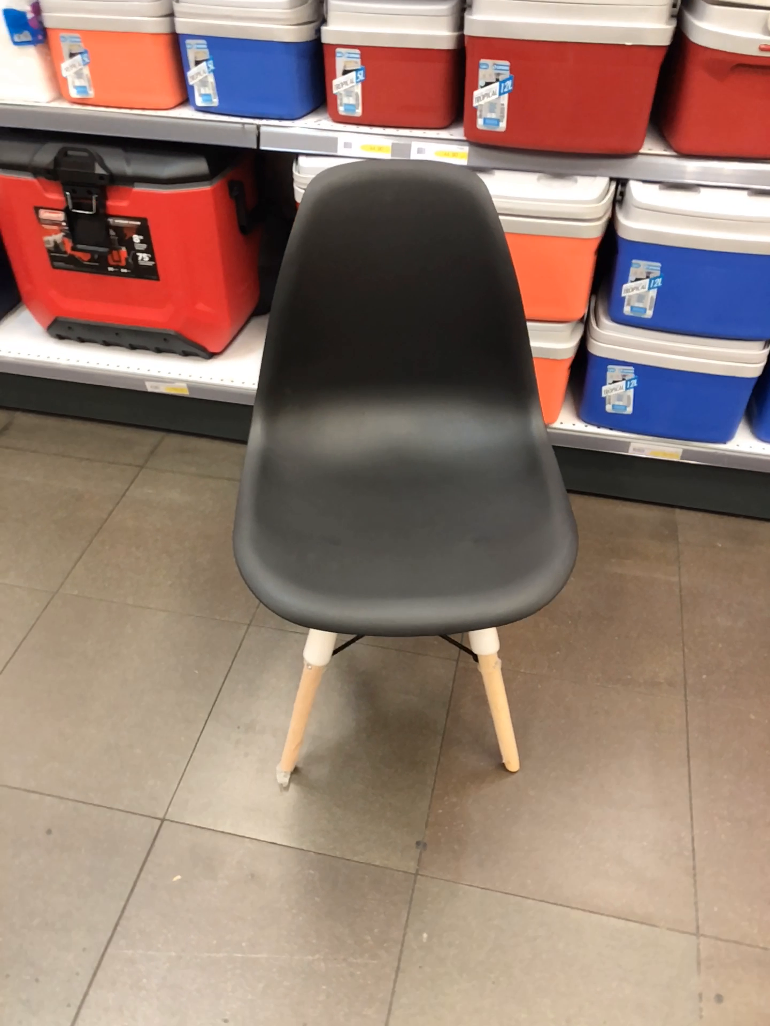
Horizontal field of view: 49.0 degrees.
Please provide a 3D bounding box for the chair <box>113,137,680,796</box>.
[{"bbox_3d":[0.007,-0.054,1.192,0.500,0.724,0.554,-2,42,-1],"label":"chair"}]
